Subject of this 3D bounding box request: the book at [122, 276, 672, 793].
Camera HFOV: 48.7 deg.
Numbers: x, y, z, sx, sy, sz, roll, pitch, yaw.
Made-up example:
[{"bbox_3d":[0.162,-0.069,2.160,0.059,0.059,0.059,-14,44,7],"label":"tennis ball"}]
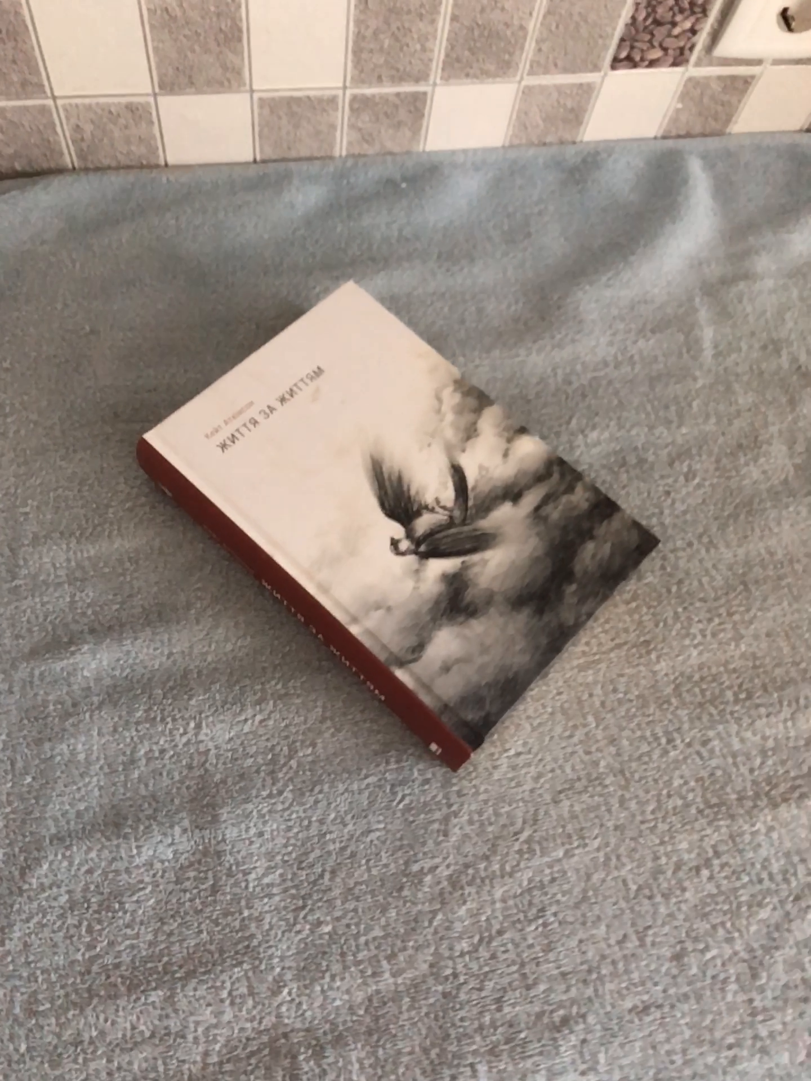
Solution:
[{"bbox_3d":[-0.004,-0.012,0.449,0.220,0.040,0.156,42,67,11],"label":"book"}]
